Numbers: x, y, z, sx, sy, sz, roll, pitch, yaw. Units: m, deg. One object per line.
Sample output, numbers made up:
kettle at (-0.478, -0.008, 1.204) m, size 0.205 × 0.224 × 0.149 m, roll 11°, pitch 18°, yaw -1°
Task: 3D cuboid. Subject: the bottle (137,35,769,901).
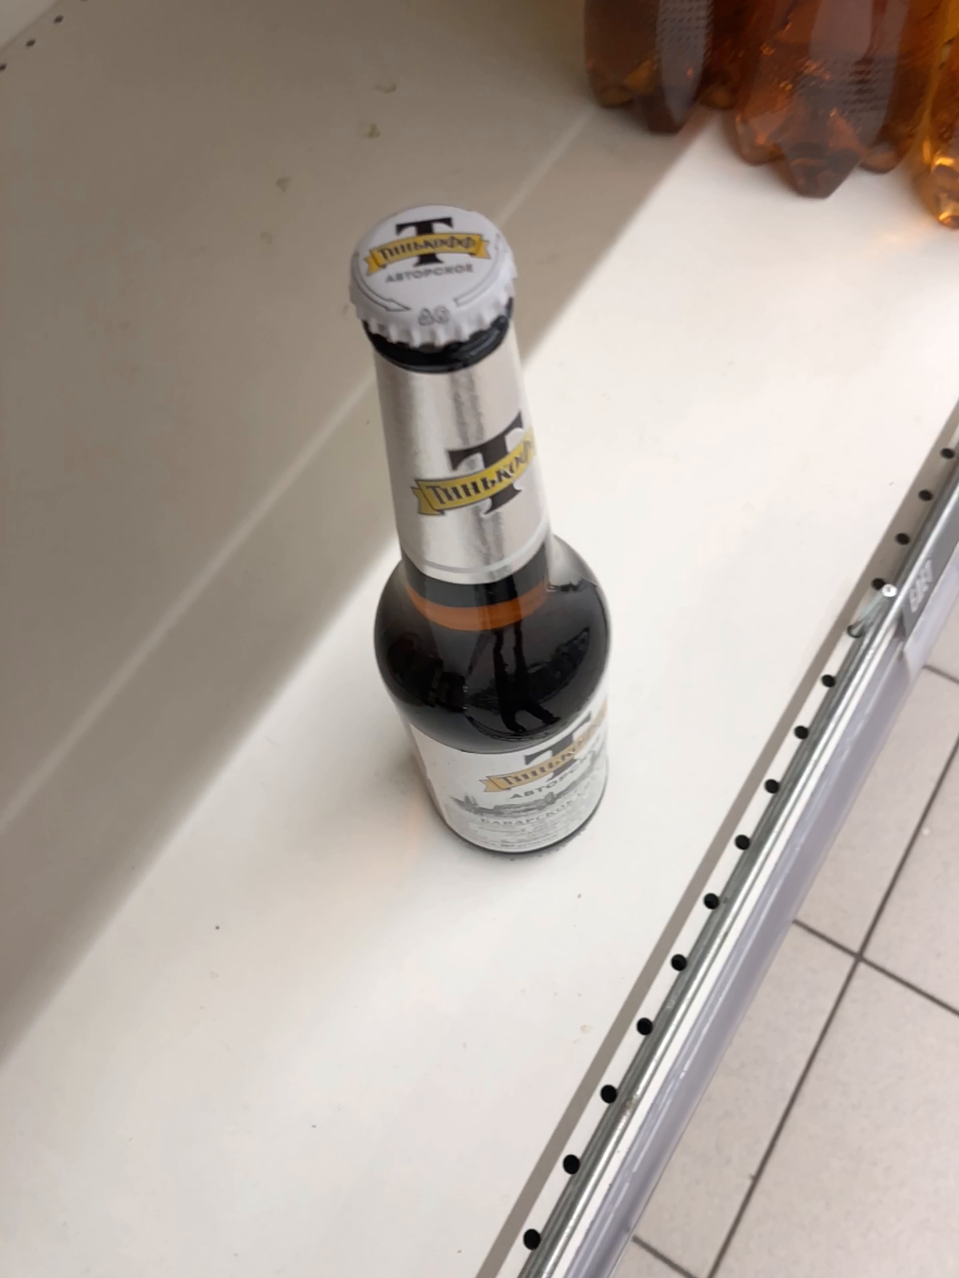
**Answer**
bottle at (0.004, -0.010, 0.287) m, size 0.080 × 0.249 × 0.070 m, roll -32°, pitch 65°, yaw -11°
